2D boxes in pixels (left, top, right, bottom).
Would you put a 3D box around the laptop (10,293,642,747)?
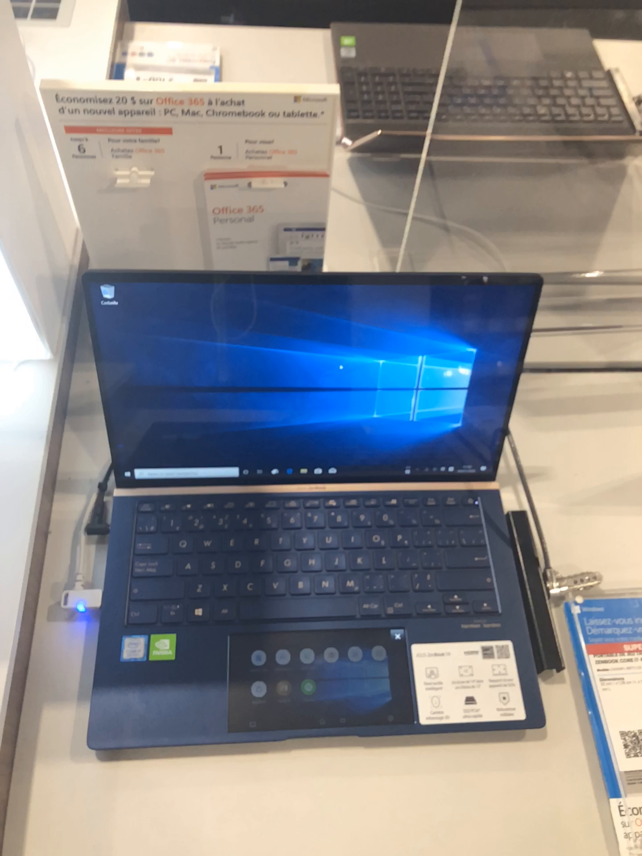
[{"bbox_3d":[0.000,0.060,0.482,0.309,0.179,0.253,-1,56,-5],"label":"laptop"}]
